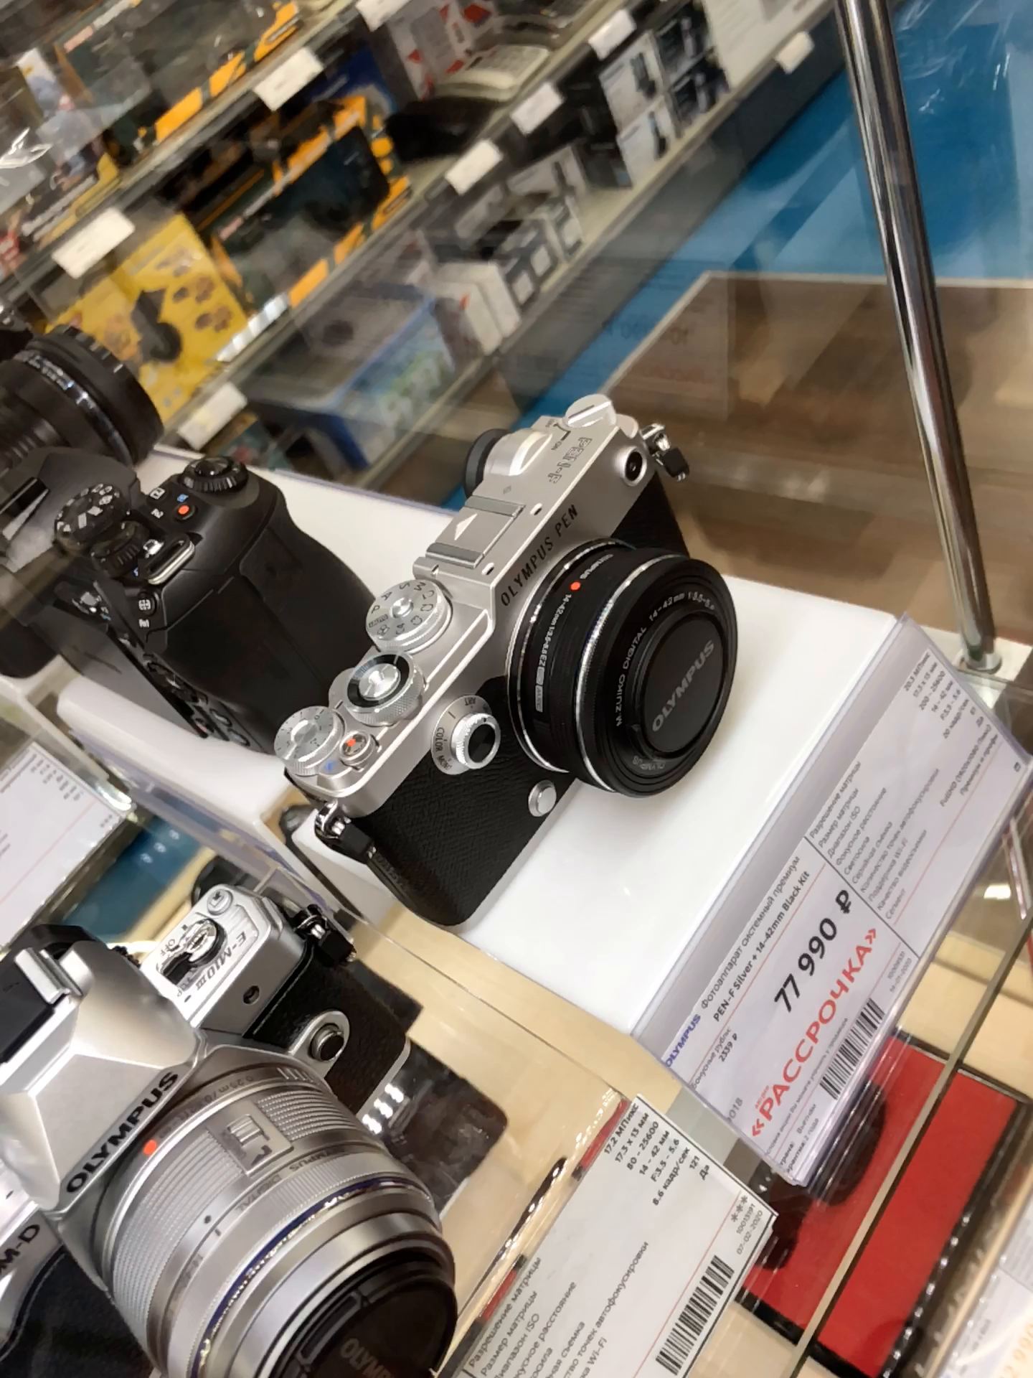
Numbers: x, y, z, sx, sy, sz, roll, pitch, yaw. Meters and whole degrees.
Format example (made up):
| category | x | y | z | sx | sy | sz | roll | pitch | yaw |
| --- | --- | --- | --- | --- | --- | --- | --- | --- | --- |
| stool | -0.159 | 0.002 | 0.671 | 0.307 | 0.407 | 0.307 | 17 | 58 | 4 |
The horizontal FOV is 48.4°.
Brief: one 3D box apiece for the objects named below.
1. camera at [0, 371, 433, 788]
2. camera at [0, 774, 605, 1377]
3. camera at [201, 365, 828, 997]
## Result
| category | x | y | z | sx | sy | sz | roll | pitch | yaw |
| --- | --- | --- | --- | --- | --- | --- | --- | --- | --- |
| camera | -0.111 | -0.041 | 0.368 | 0.128 | 0.075 | 0.083 | 18 | 61 | 40 |
| camera | -0.069 | 0.102 | 0.223 | 0.099 | 0.075 | 0.127 | 20 | 62 | 41 |
| camera | 0.006 | -0.009 | 0.283 | 0.076 | 0.070 | 0.127 | 17 | 60 | 40 |
